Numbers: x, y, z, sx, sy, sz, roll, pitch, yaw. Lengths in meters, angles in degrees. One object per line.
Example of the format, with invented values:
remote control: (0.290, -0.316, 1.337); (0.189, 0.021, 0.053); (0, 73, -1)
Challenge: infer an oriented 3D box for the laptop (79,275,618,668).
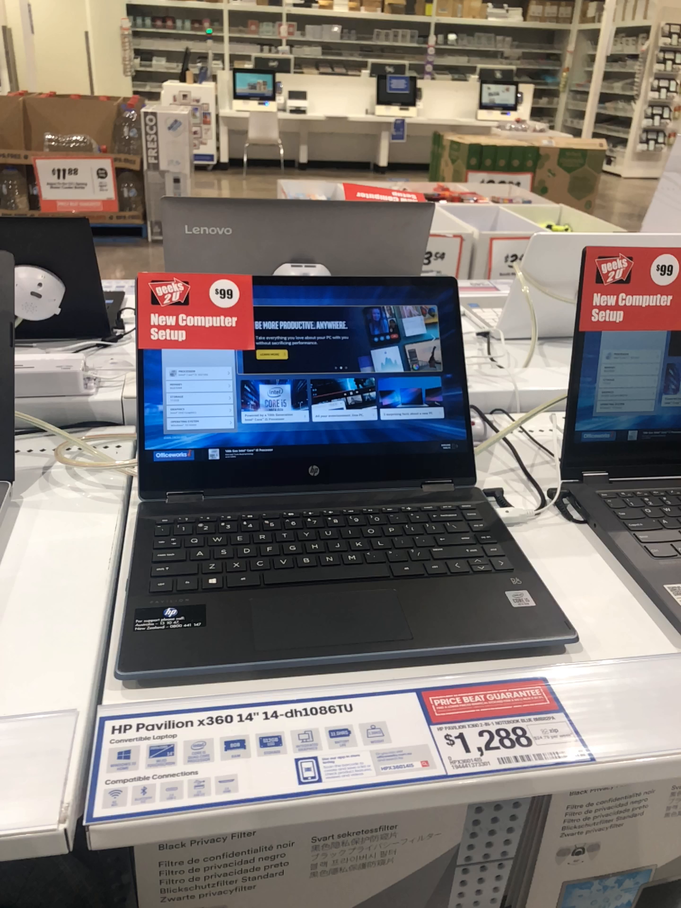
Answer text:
laptop: (-0.018, -0.021, 0.623); (0.315, 0.165, 0.350); (-2, 27, -10)
